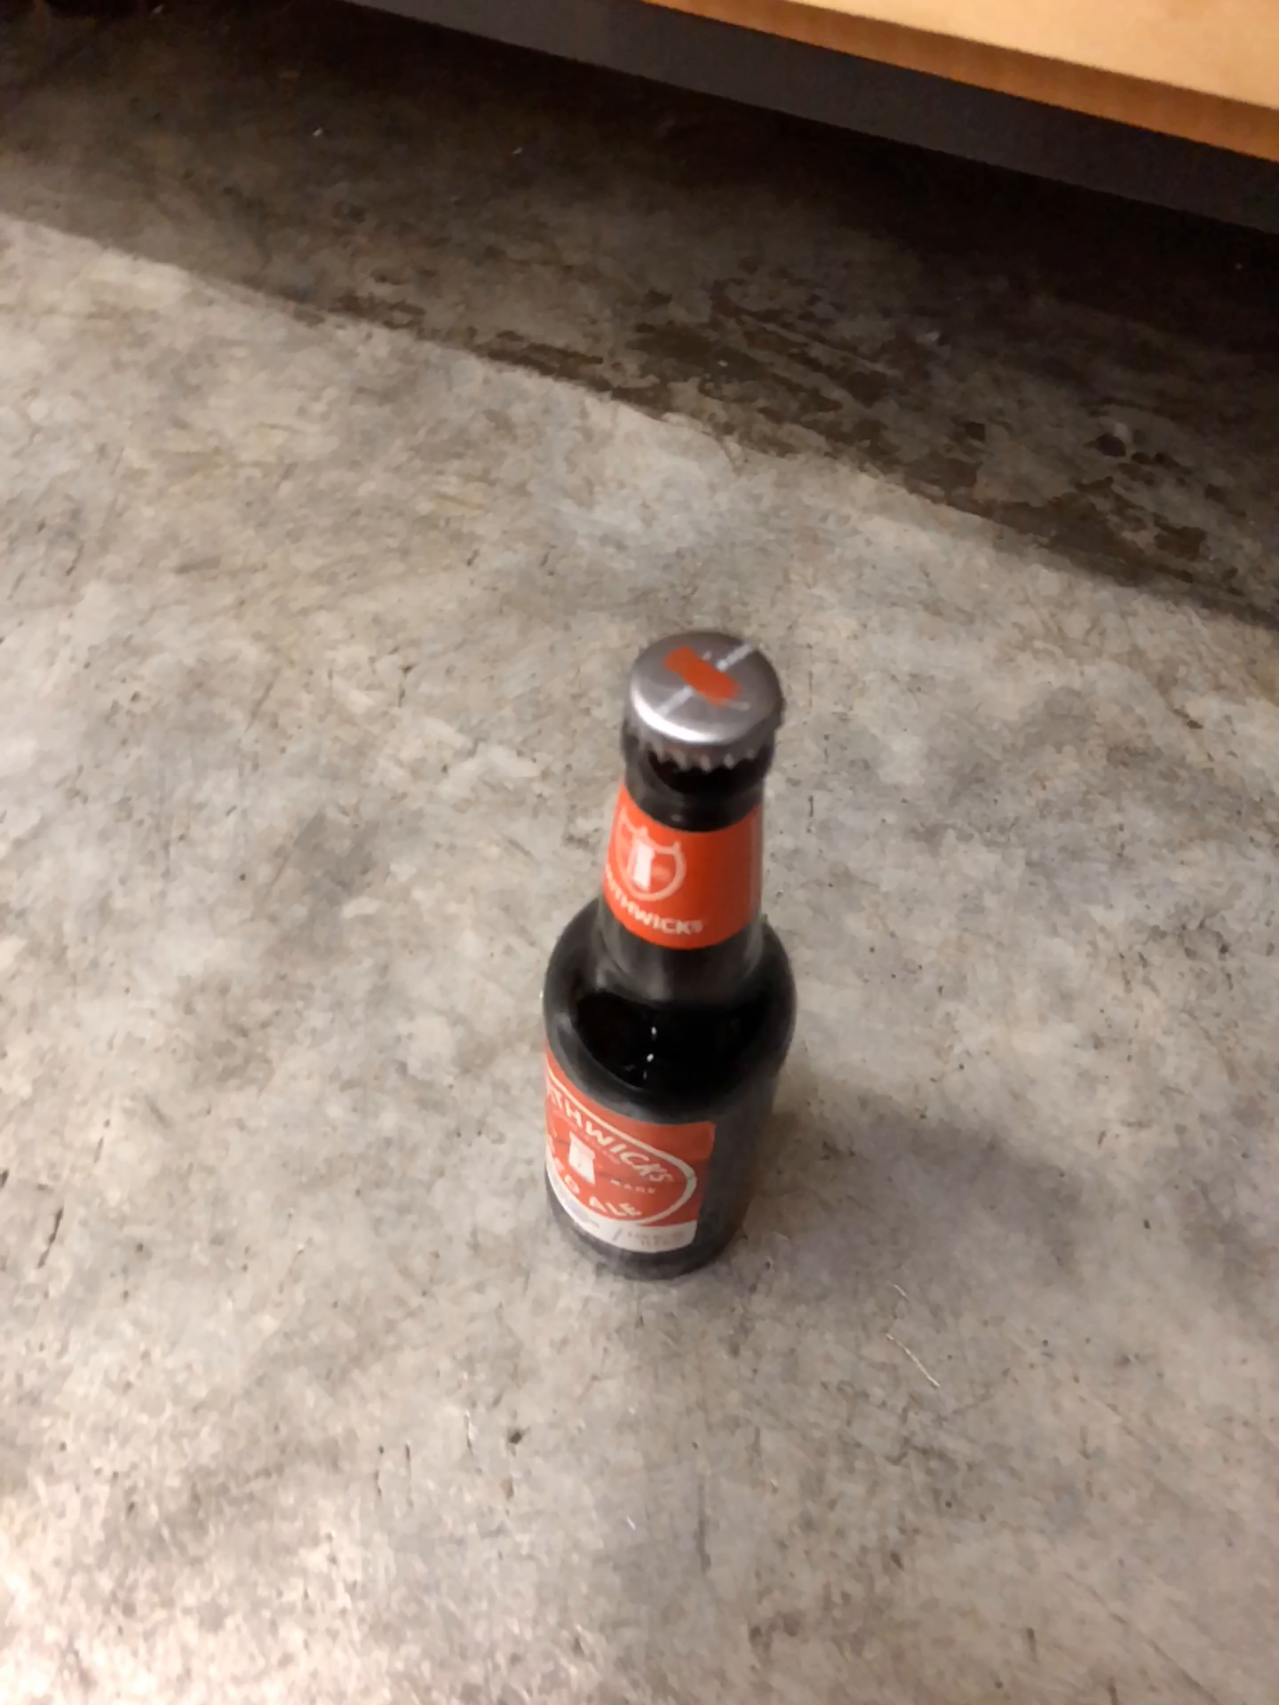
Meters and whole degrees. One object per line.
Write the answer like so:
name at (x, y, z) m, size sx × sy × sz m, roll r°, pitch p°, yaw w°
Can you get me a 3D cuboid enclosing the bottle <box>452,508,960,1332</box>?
bottle at (0.006, 0.035, 0.323) m, size 0.060 × 0.220 × 0.059 m, roll 2°, pitch 55°, yaw -2°
